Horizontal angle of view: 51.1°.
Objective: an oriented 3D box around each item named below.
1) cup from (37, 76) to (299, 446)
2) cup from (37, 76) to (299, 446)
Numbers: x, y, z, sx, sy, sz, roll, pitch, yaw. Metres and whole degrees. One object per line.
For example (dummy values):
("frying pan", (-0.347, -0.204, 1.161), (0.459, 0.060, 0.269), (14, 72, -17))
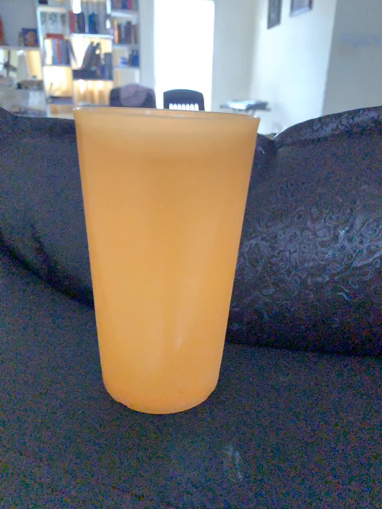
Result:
("cup", (-0.010, -0.006, 0.175), (0.070, 0.129, 0.070), (1, 22, 0))
("cup", (-0.010, -0.006, 0.175), (0.070, 0.129, 0.070), (1, 22, 0))
